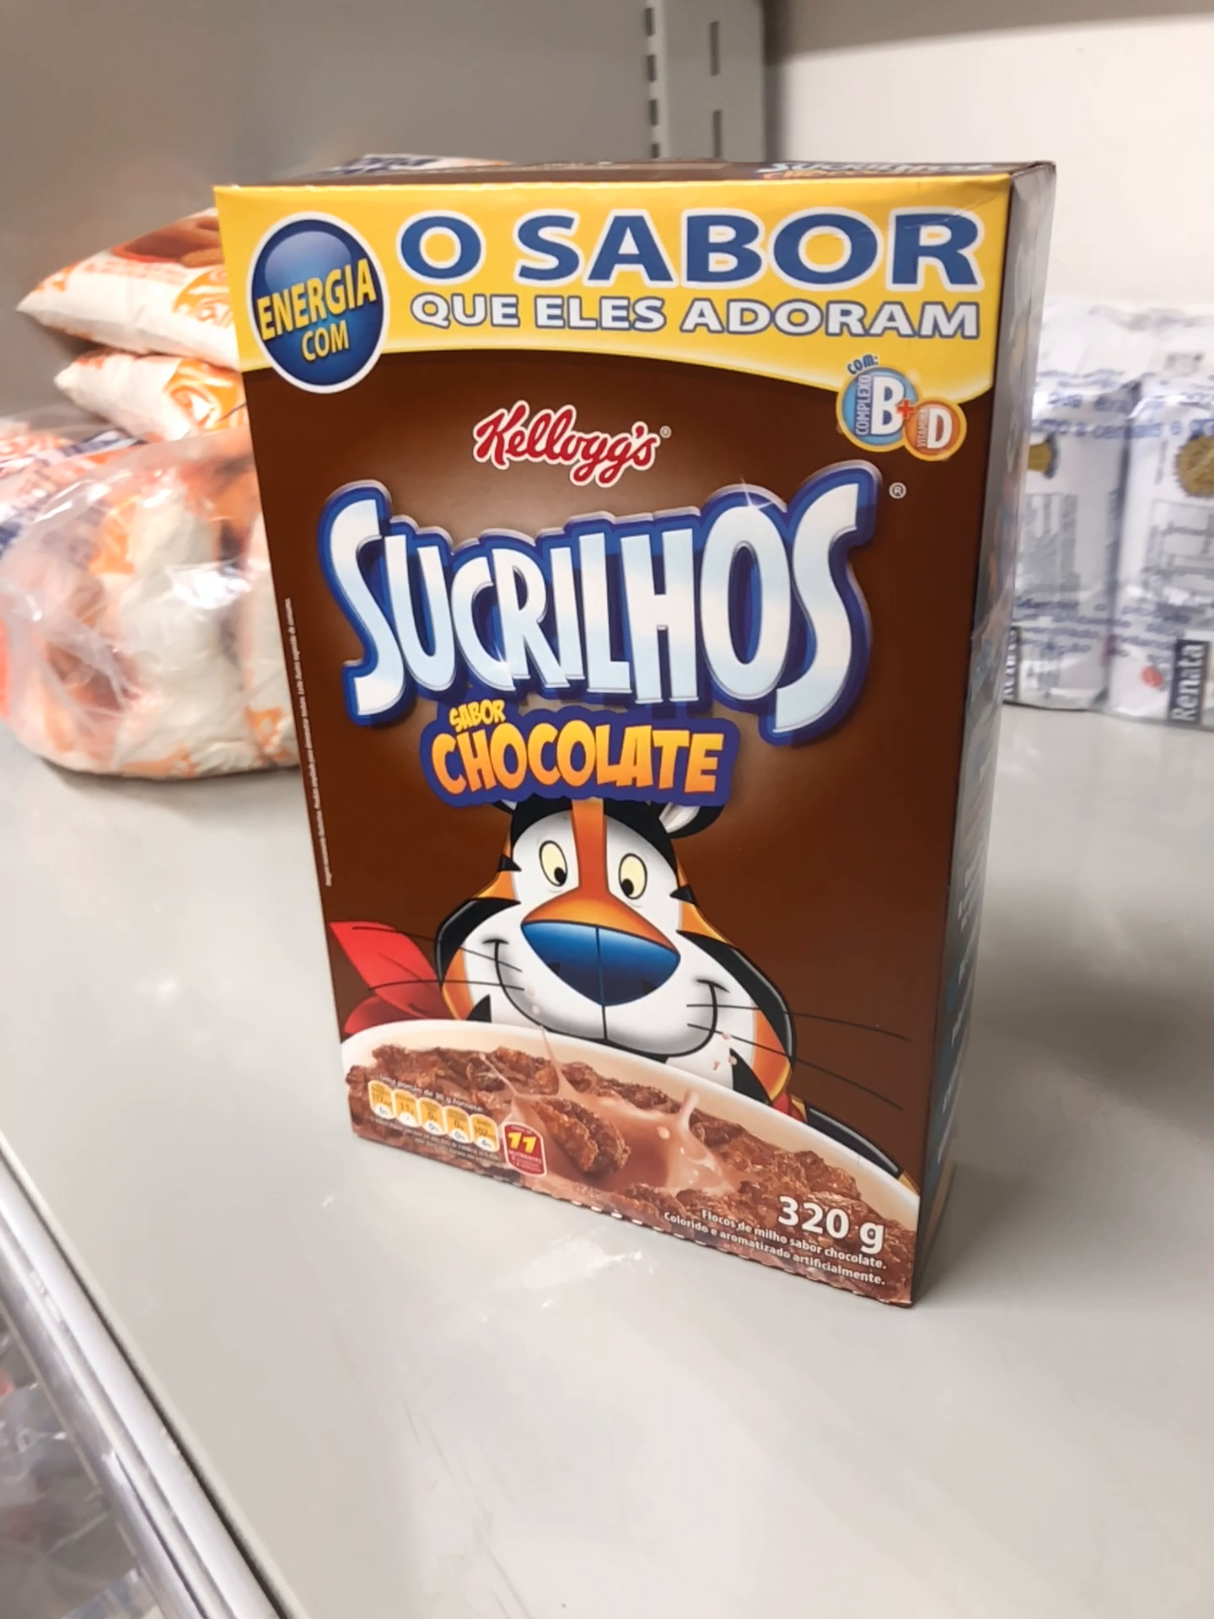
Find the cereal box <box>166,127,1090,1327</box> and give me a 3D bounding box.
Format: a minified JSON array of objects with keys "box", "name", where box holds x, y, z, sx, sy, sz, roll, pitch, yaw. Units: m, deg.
[{"box":[0.007,-0.019,0.341,0.180,0.268,0.070,10,29,22],"name":"cereal box"}]
